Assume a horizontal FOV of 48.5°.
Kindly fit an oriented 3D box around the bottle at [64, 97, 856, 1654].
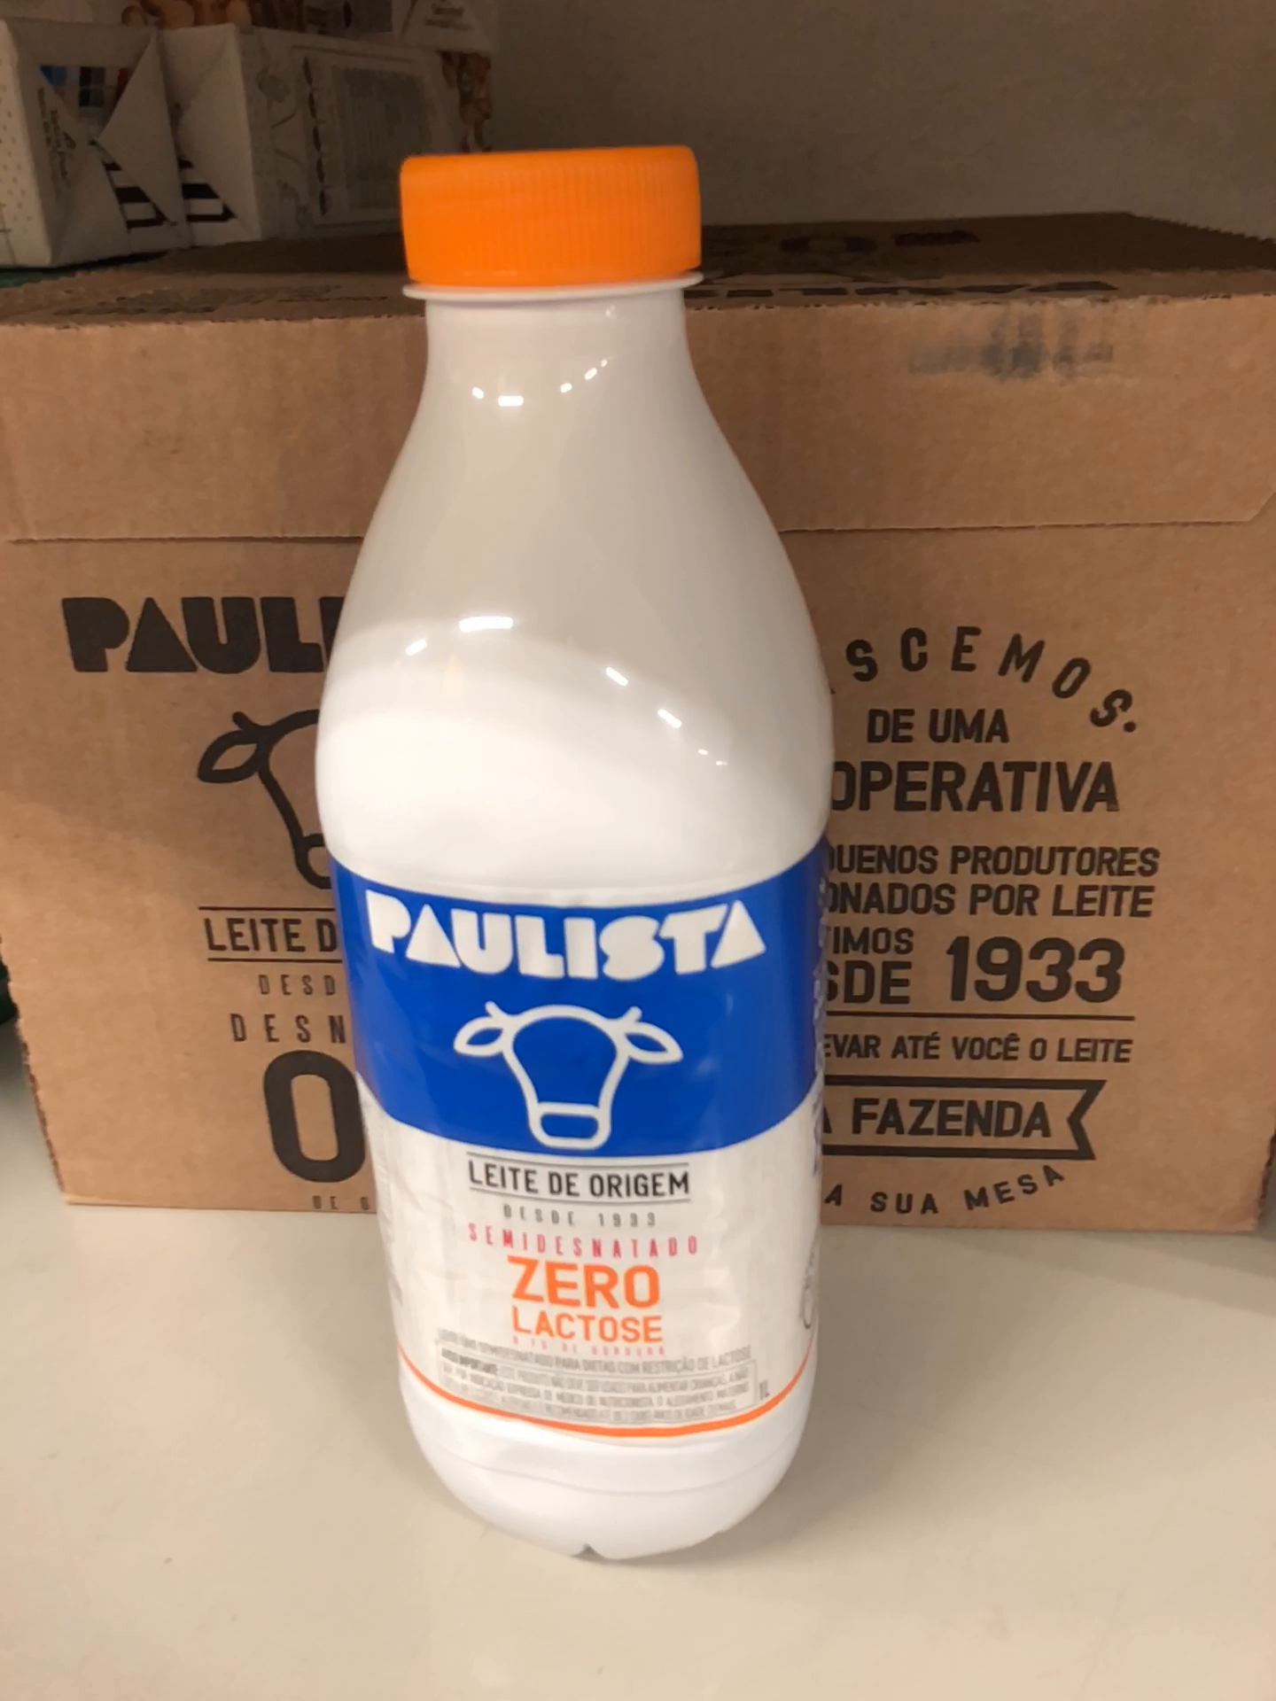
[{"bbox_3d":[-0.009,0.011,0.226,0.080,0.228,0.081,-2,26,1],"label":"bottle"}]
